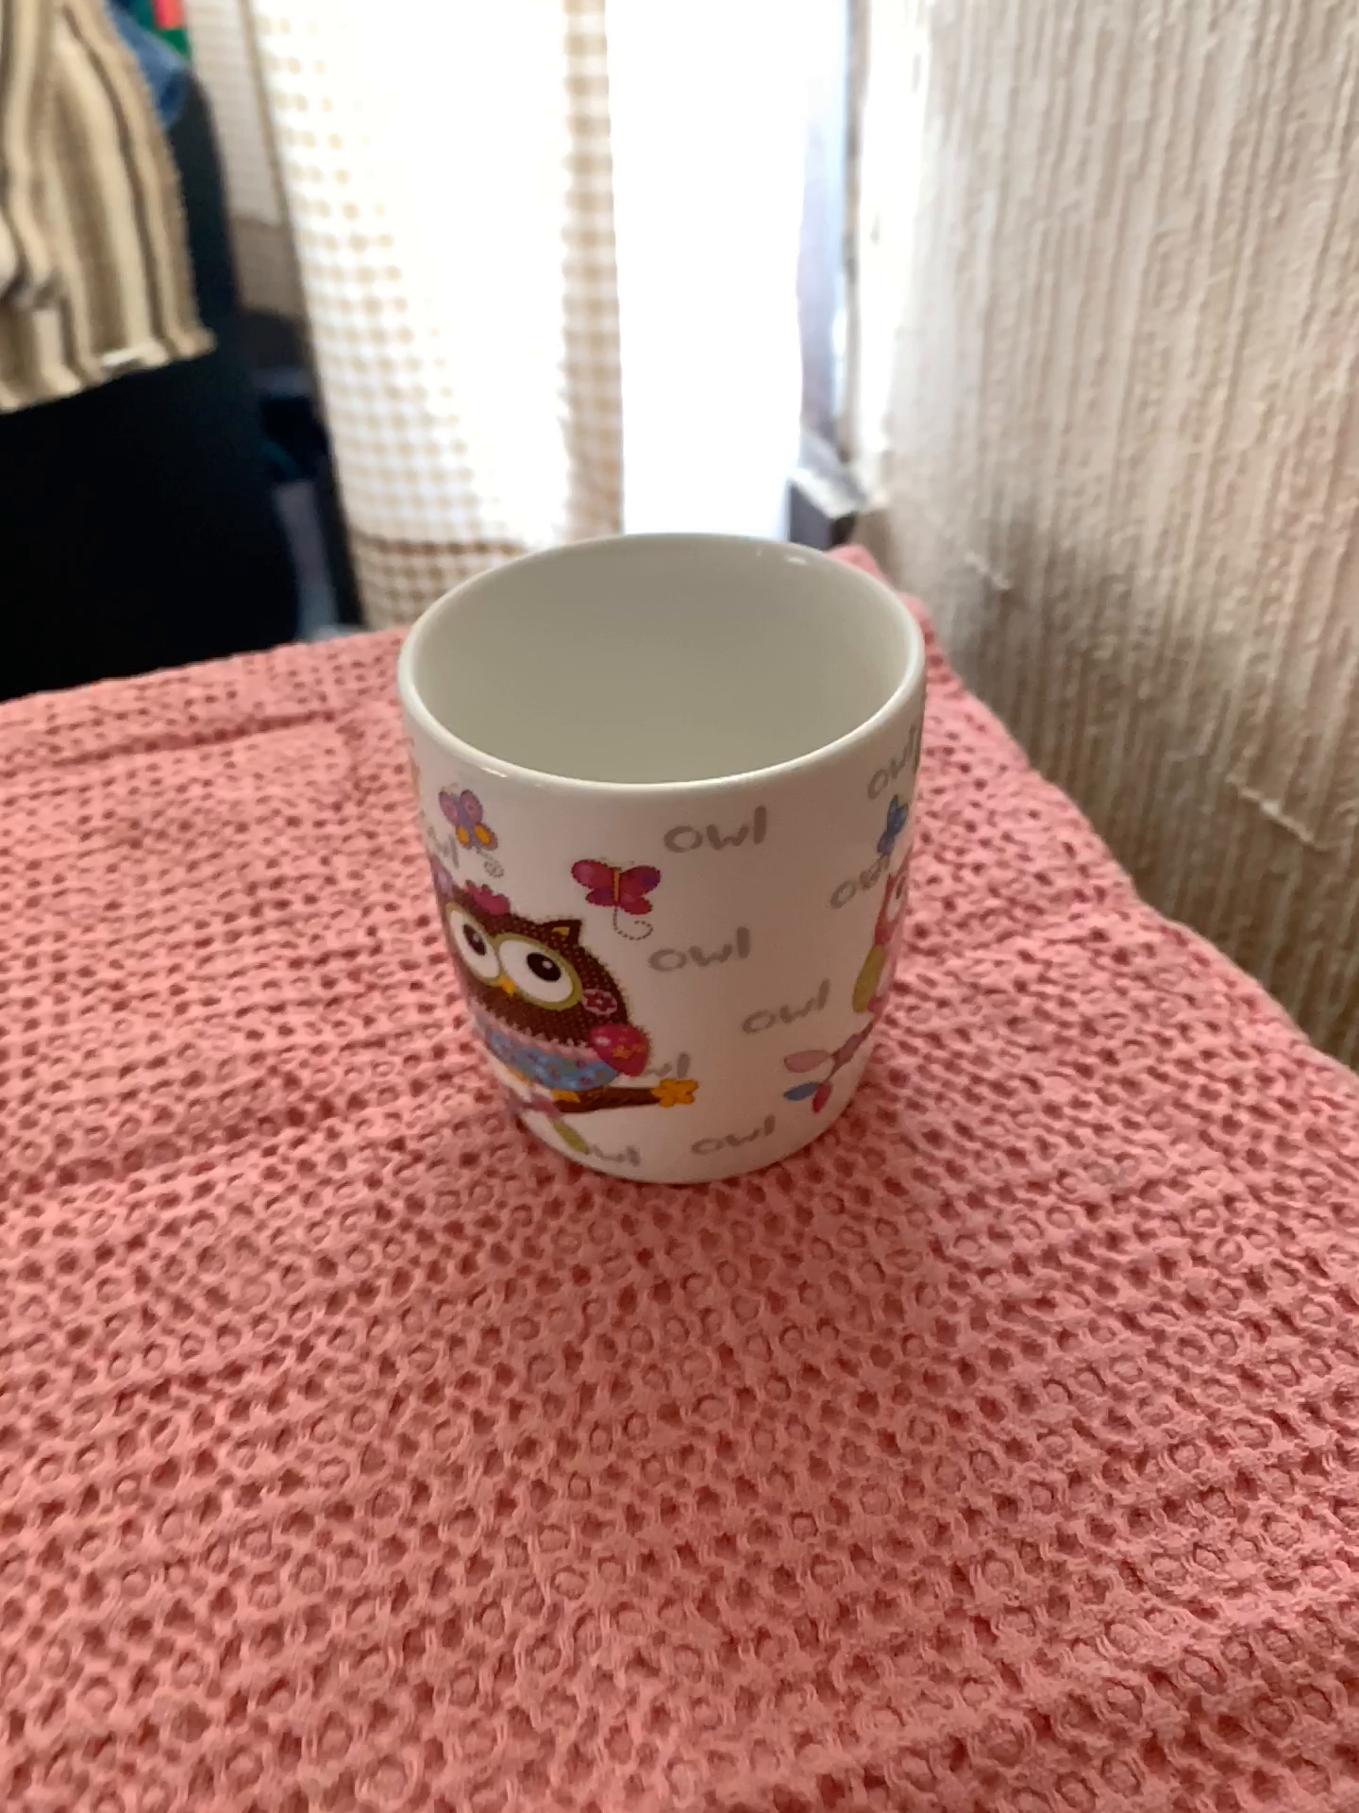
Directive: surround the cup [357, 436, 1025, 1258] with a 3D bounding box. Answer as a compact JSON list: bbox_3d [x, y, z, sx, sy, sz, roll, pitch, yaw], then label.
[{"bbox_3d":[-0.005,-0.018,0.270,0.090,0.089,0.121,-10,39,-8],"label":"cup"}]
